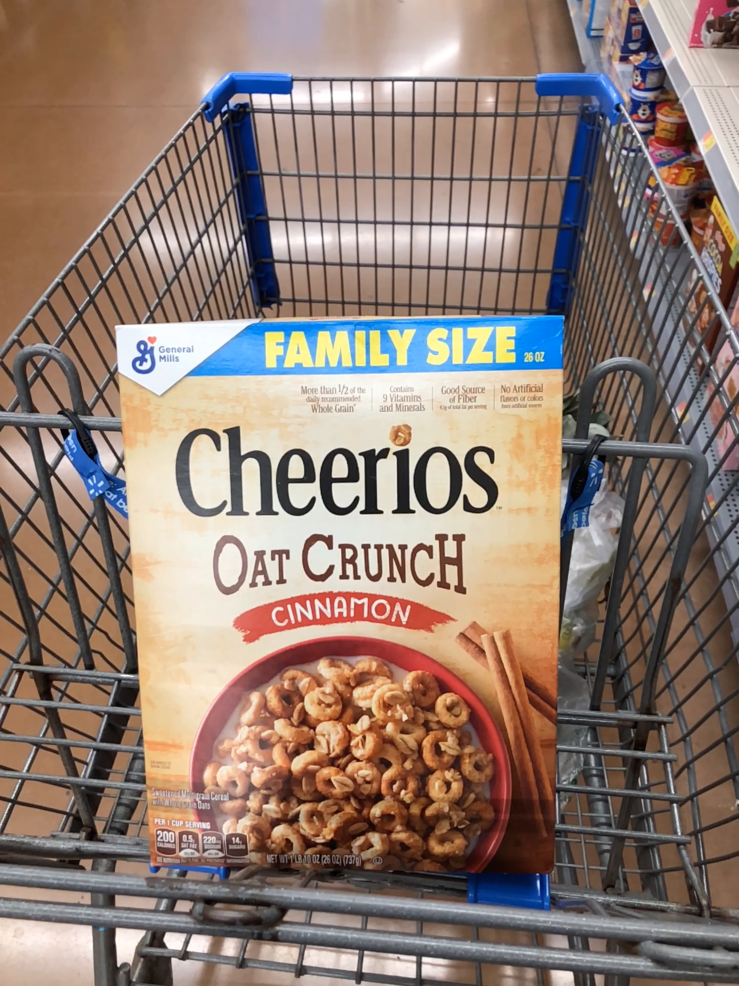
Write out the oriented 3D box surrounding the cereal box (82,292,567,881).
[{"bbox_3d":[-0.021,0.054,0.486,0.250,0.330,0.080,0,10,3],"label":"cereal box"}]
